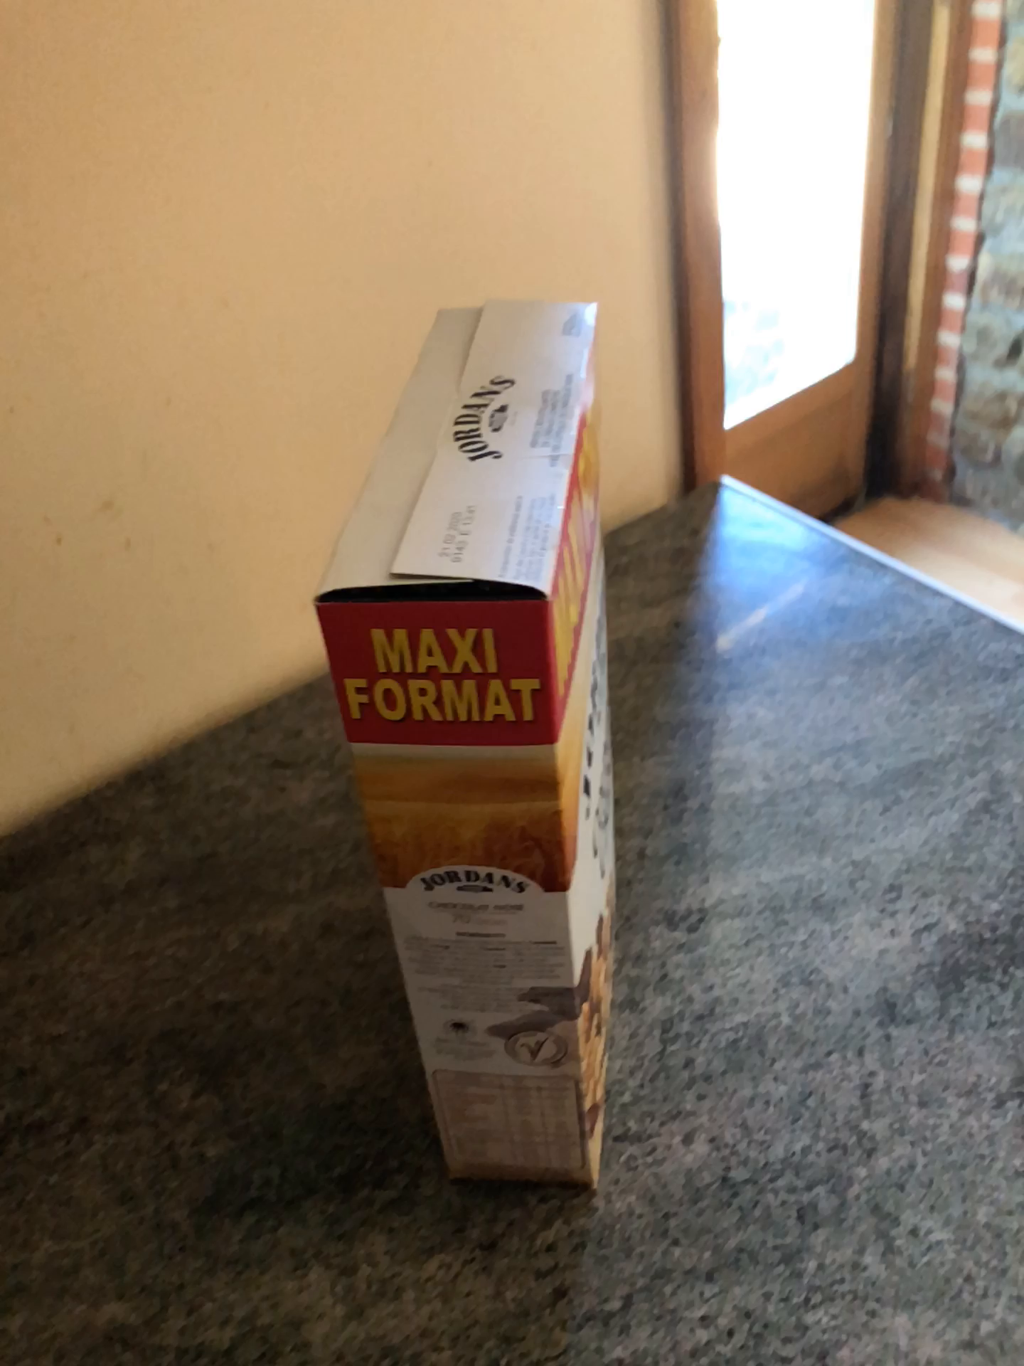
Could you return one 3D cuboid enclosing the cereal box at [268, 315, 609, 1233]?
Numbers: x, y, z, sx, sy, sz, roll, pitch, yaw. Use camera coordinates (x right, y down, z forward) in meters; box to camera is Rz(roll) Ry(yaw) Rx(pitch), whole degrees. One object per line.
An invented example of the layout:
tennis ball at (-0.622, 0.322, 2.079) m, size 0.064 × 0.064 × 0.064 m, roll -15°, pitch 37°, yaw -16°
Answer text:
cereal box at (-0.004, 0.042, 0.444) m, size 0.070 × 0.298 × 0.201 m, roll 0°, pitch 39°, yaw 7°
